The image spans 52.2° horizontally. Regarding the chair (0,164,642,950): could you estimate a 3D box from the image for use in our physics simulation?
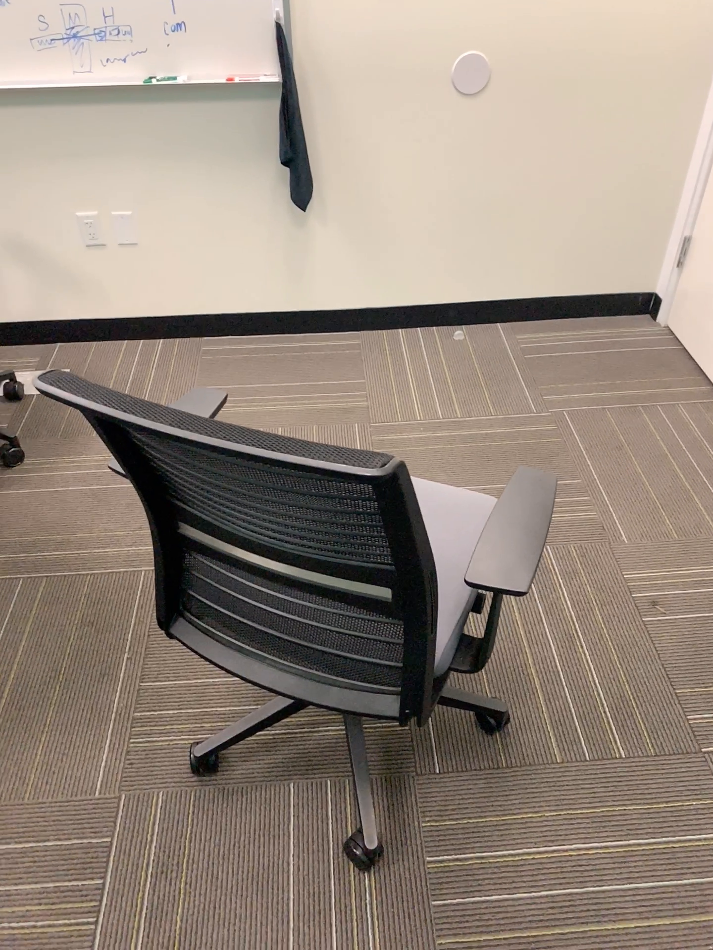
[{"bbox_3d":[-0.023,0.136,1.236,0.651,0.994,0.693,16,44,19],"label":"chair"}]
